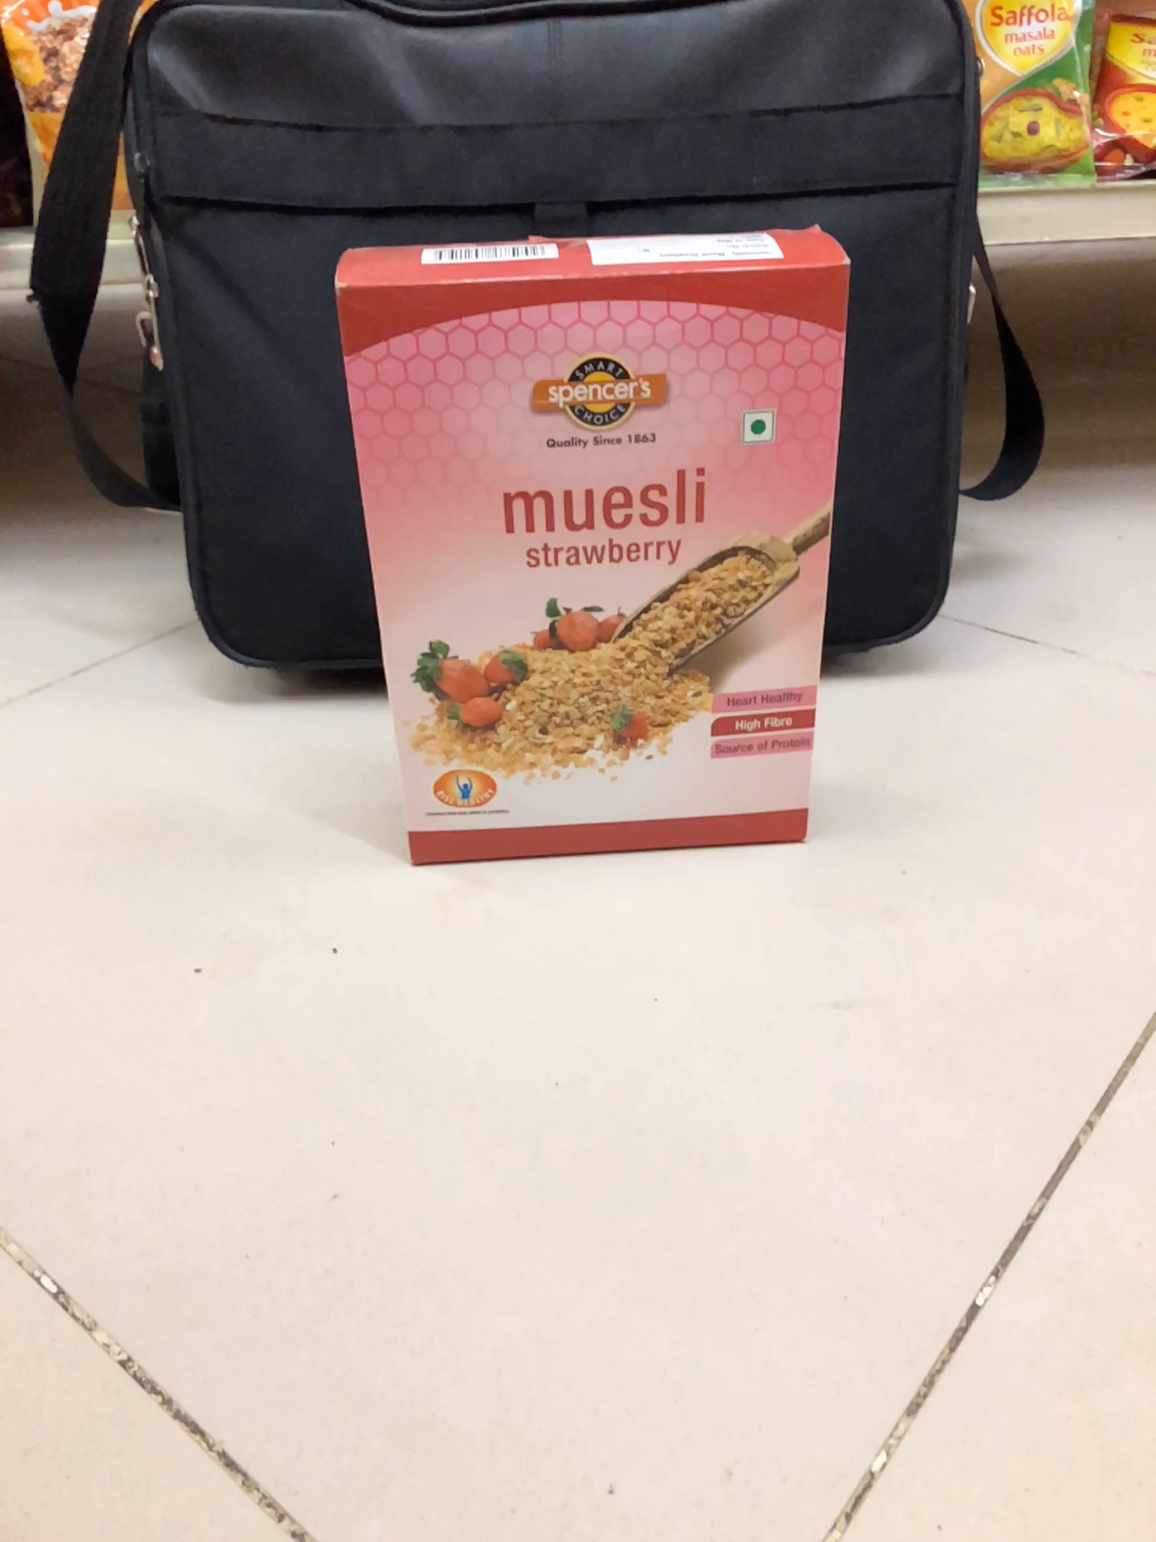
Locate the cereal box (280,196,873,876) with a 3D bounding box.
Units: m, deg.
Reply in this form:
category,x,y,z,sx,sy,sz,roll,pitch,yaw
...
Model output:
category,x,y,z,sx,sy,sz,roll,pitch,yaw
cereal box,0.004,-0.086,0.523,0.200,0.258,0.060,-3,32,-1
